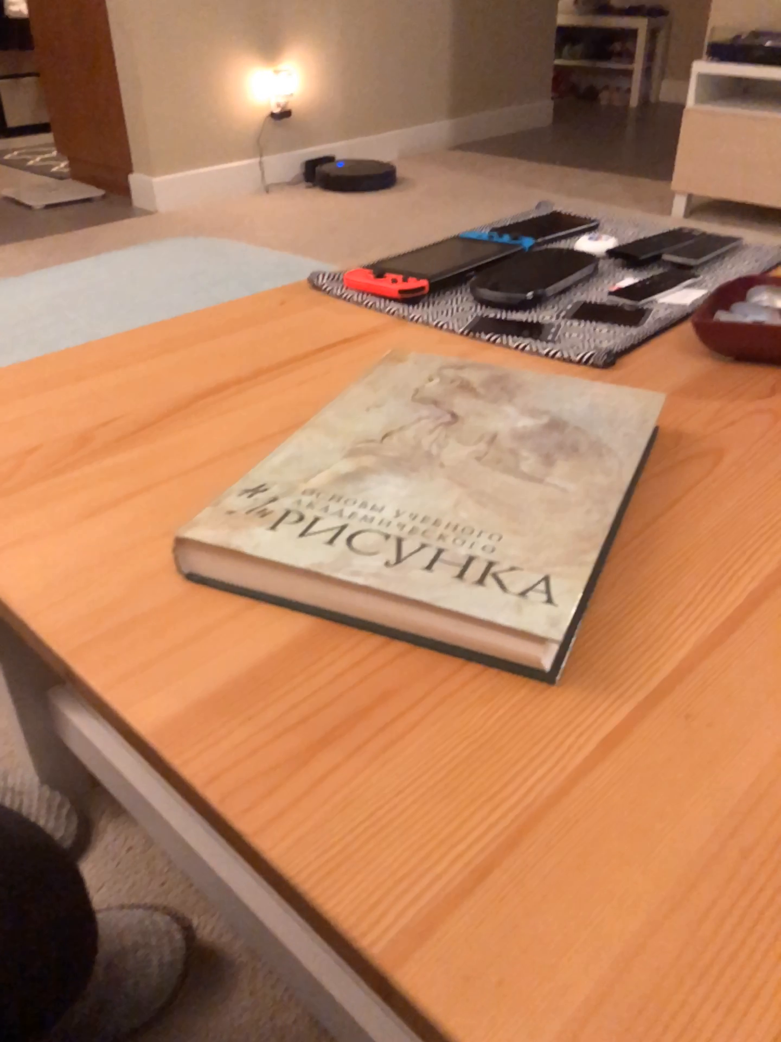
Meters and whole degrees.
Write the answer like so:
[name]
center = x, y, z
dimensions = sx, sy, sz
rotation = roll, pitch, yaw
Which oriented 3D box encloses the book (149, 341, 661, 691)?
[book]
center = 0.029, -0.030, 0.515
dimensions = 0.214, 0.030, 0.273
rotation = 14, 36, 19
